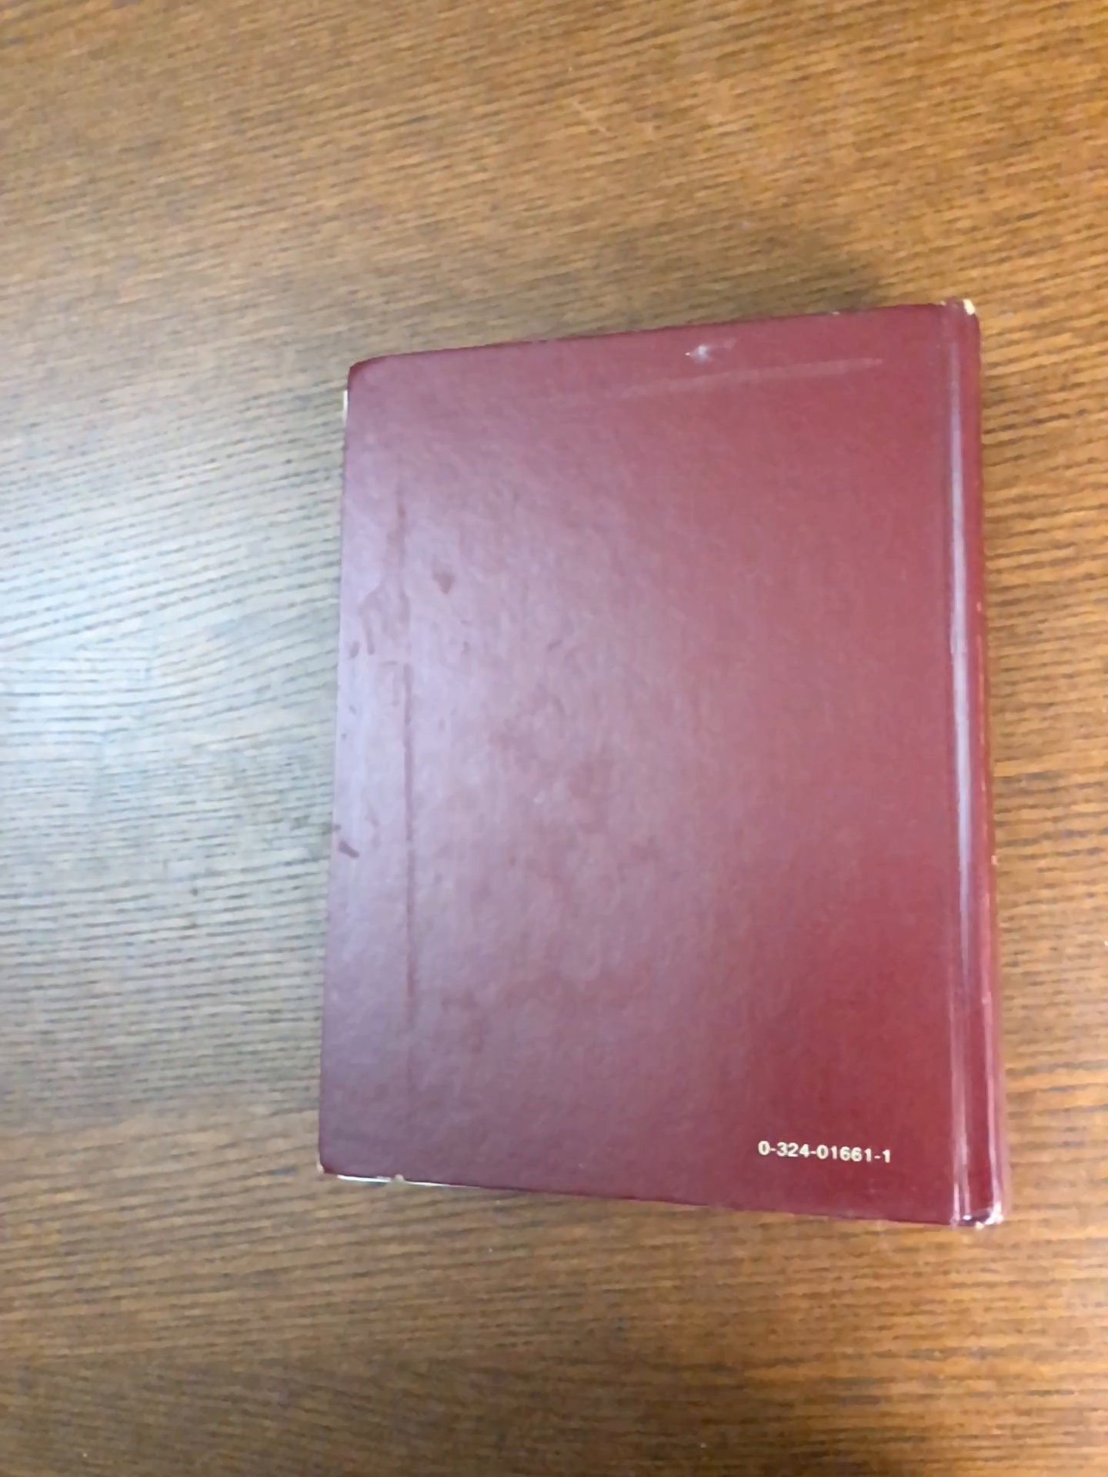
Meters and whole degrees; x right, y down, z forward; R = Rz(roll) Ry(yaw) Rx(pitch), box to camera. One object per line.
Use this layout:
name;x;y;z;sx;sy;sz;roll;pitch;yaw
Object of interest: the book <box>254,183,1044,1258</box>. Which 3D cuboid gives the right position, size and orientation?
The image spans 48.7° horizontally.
book;0.028;-0.007;0.388;0.220;0.070;0.290;-1;82;15
